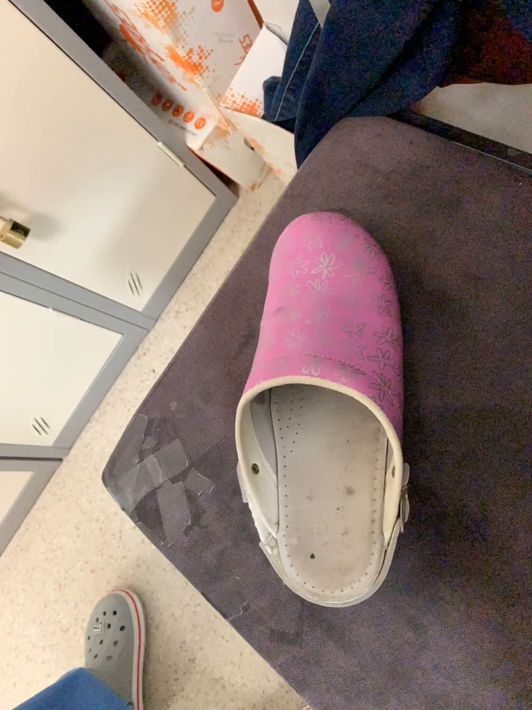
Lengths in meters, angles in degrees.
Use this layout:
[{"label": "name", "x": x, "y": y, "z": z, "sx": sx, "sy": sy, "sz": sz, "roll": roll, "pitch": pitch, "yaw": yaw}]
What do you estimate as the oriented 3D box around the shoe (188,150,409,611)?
[{"label": "shoe", "x": 0.022, "y": 0.014, "z": 0.325, "sx": 0.100, "sy": 0.080, "sz": 0.230, "roll": -5, "pitch": 76, "yaw": 23}]
